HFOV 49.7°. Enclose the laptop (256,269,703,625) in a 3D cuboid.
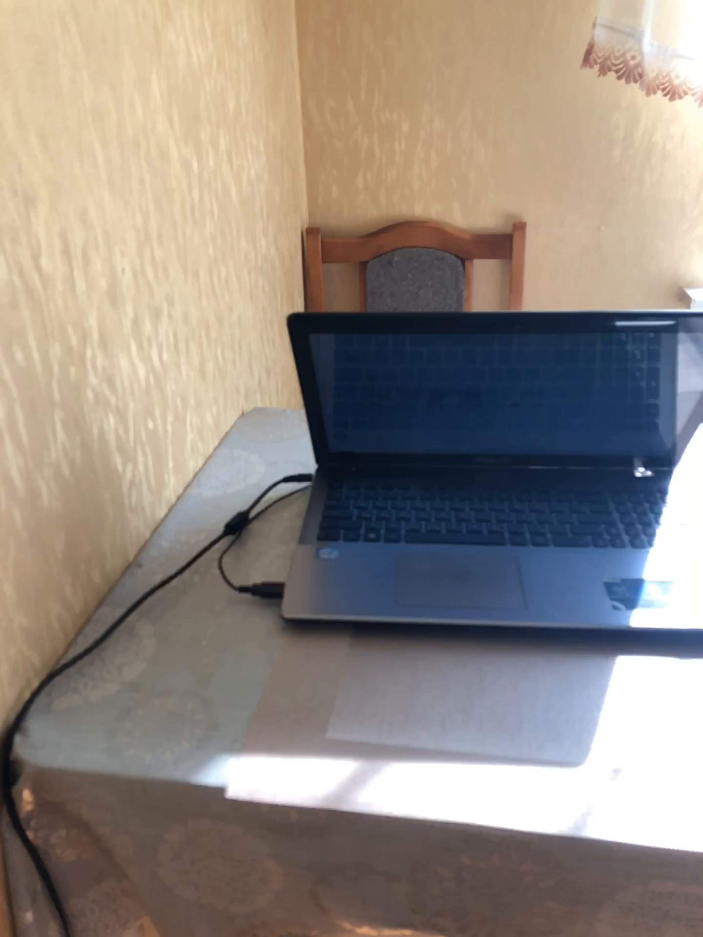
[{"bbox_3d":[0.130,-0.034,0.631,0.361,0.200,0.246,0,27,5],"label":"laptop"}]
